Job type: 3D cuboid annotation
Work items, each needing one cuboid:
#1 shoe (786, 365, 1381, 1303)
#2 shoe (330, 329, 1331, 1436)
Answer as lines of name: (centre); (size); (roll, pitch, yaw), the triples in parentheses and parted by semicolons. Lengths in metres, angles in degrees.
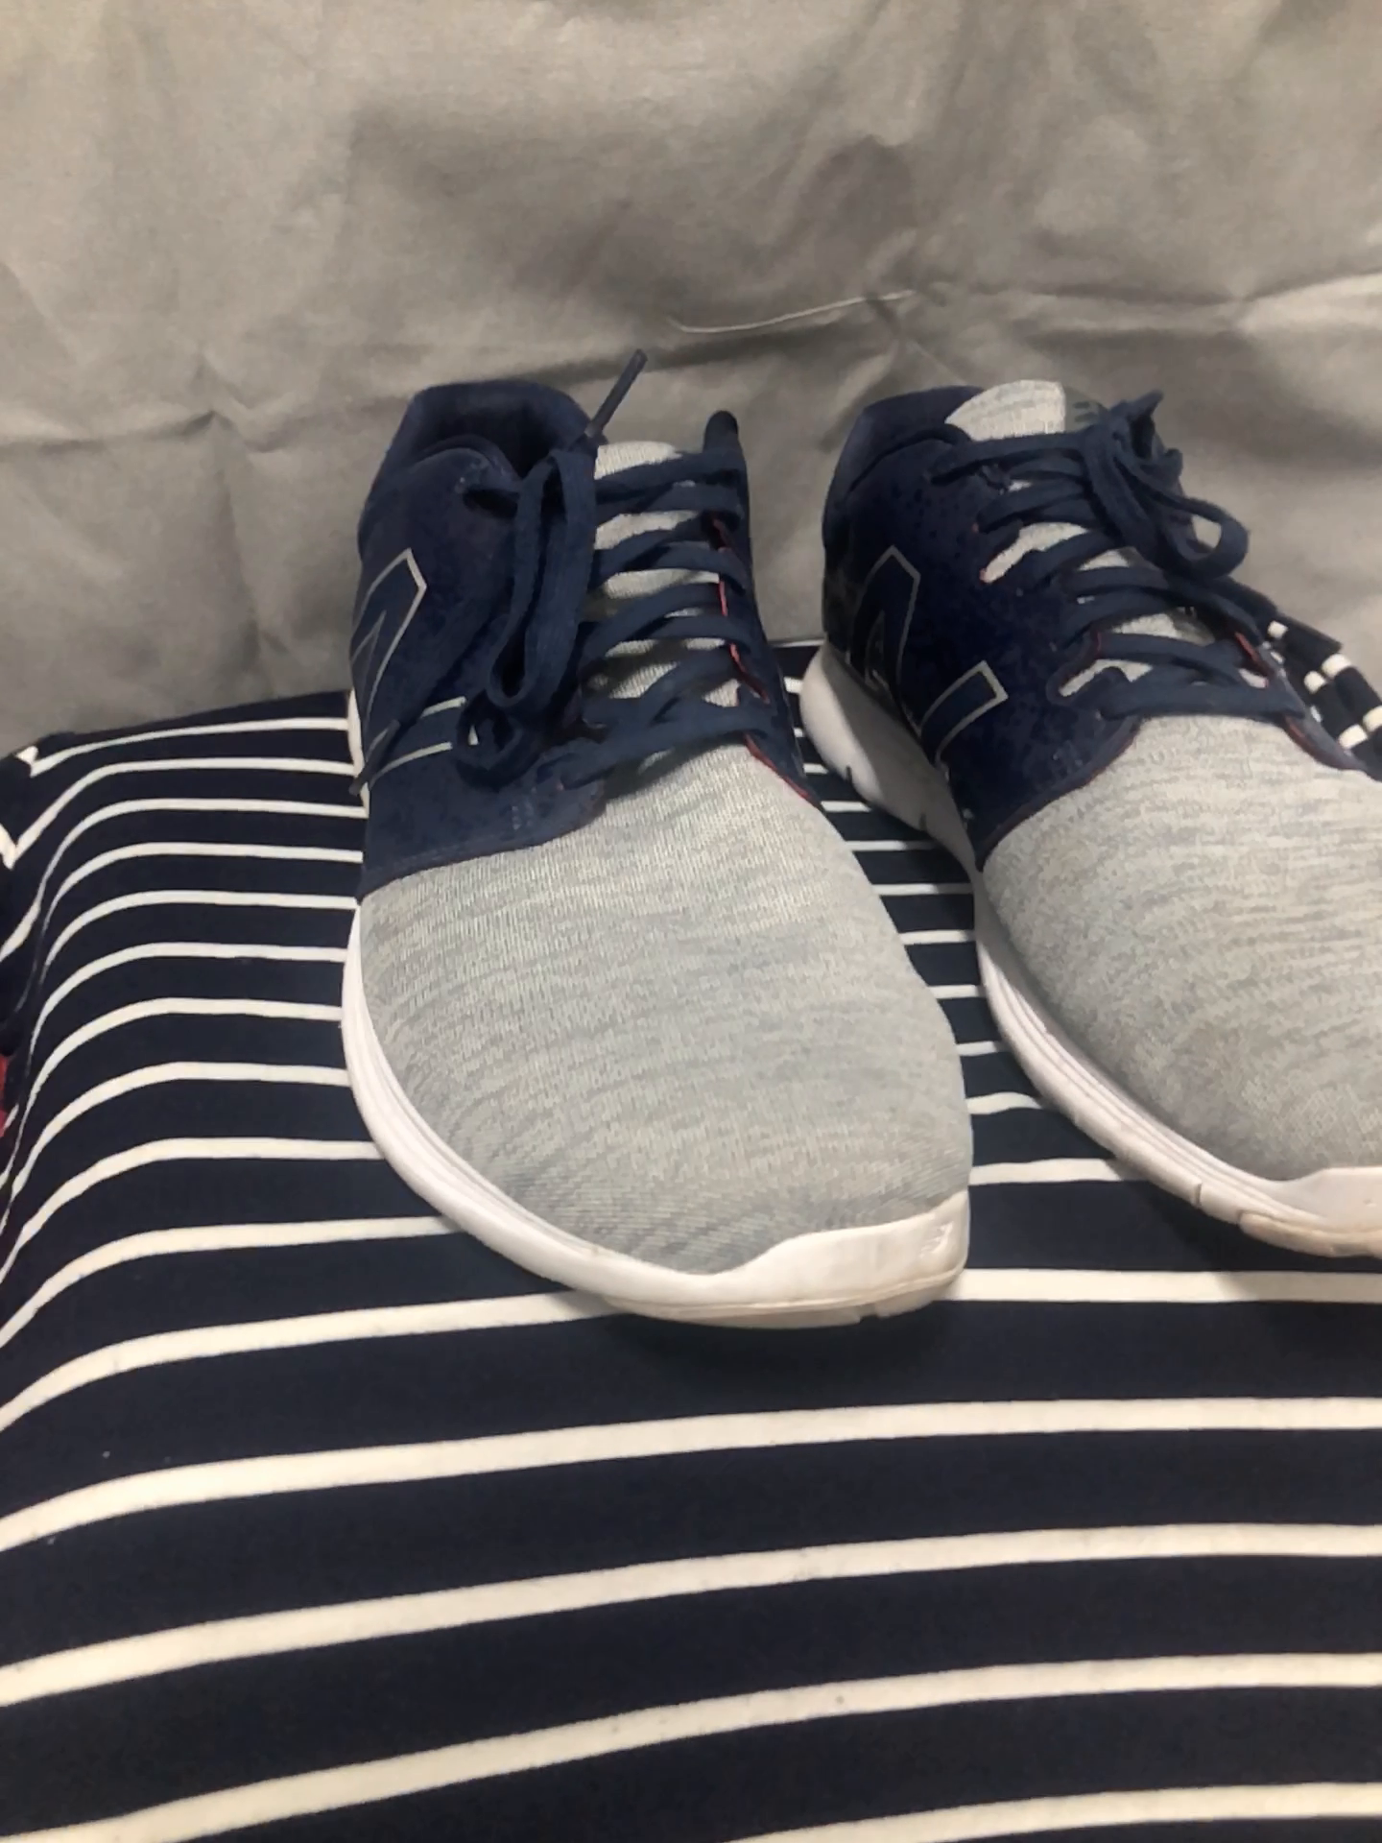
shoe: (0.118, -0.050, 0.340); (0.120, 0.079, 0.262); (-7, 34, -12)
shoe: (-0.010, -0.052, 0.351); (0.120, 0.089, 0.323); (-7, 34, -12)
